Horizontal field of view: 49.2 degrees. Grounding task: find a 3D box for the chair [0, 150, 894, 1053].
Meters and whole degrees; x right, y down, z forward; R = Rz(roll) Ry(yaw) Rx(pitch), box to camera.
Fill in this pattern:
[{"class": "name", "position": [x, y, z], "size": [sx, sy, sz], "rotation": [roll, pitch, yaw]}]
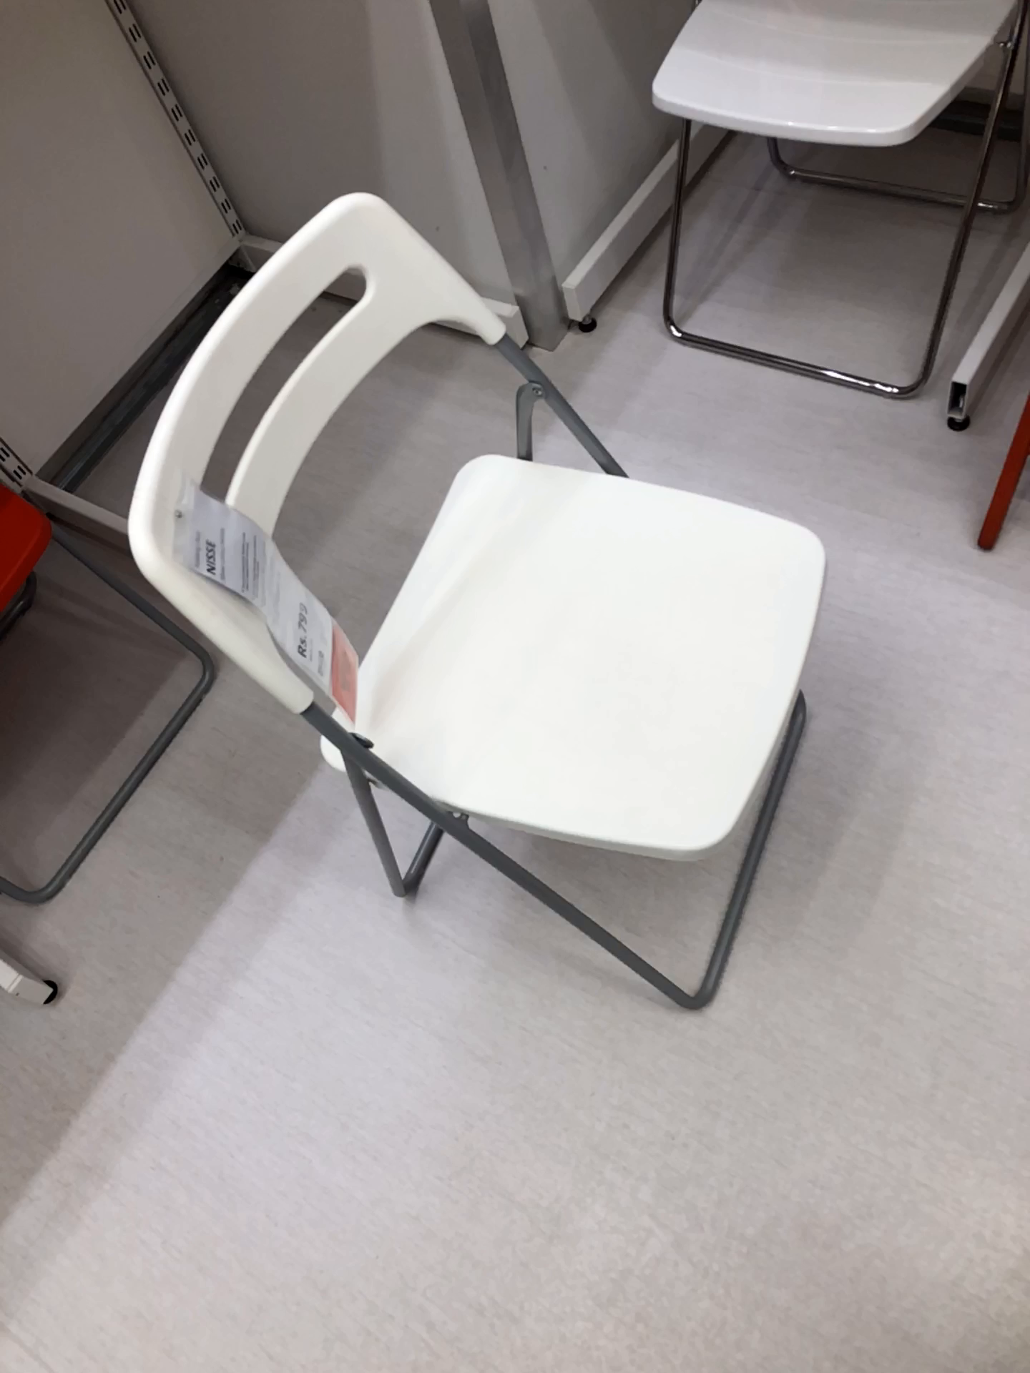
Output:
[{"class": "chair", "position": [0.012, -0.049, 1.098], "size": [0.541, 0.667, 0.501], "rotation": [14, 66, 22]}]
